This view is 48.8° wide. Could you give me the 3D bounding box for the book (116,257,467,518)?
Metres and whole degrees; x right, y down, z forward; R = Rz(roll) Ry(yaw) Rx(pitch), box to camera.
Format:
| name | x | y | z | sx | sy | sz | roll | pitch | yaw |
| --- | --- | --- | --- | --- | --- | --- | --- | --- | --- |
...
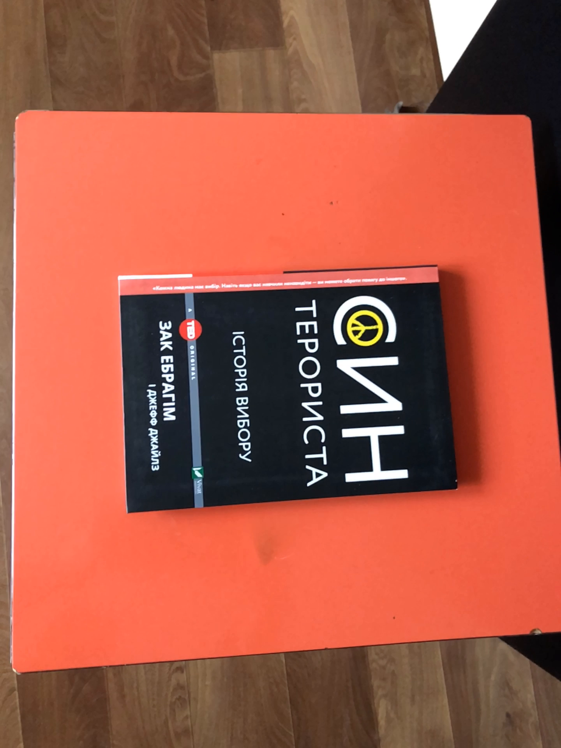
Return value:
| name | x | y | z | sx | sy | sz | roll | pitch | yaw |
| --- | --- | --- | --- | --- | --- | --- | --- | --- | --- |
| book | 0.006 | 0.005 | 0.380 | 0.205 | 0.013 | 0.150 | -2 | 84 | -5 |
